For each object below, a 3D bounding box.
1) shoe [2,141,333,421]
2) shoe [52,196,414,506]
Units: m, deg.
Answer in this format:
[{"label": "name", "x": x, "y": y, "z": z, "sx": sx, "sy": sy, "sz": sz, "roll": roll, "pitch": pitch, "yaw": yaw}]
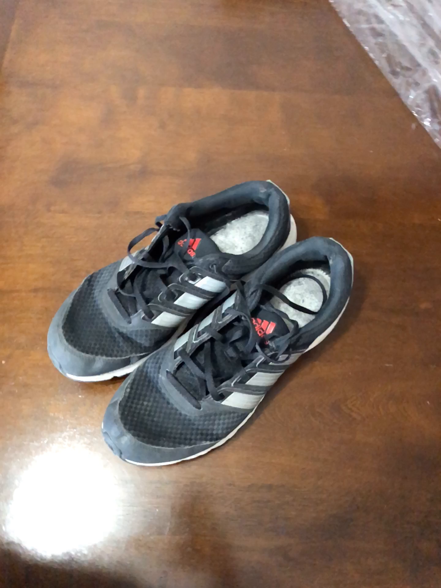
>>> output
[{"label": "shoe", "x": -0.045, "y": -0.014, "z": 0.510, "sx": 0.290, "sy": 0.120, "sz": 0.120, "roll": -34, "pitch": 73, "yaw": -15}, {"label": "shoe", "x": 0.016, "y": 0.055, "z": 0.469, "sx": 0.290, "sy": 0.130, "sz": 0.120, "roll": -34, "pitch": 73, "yaw": -15}]
